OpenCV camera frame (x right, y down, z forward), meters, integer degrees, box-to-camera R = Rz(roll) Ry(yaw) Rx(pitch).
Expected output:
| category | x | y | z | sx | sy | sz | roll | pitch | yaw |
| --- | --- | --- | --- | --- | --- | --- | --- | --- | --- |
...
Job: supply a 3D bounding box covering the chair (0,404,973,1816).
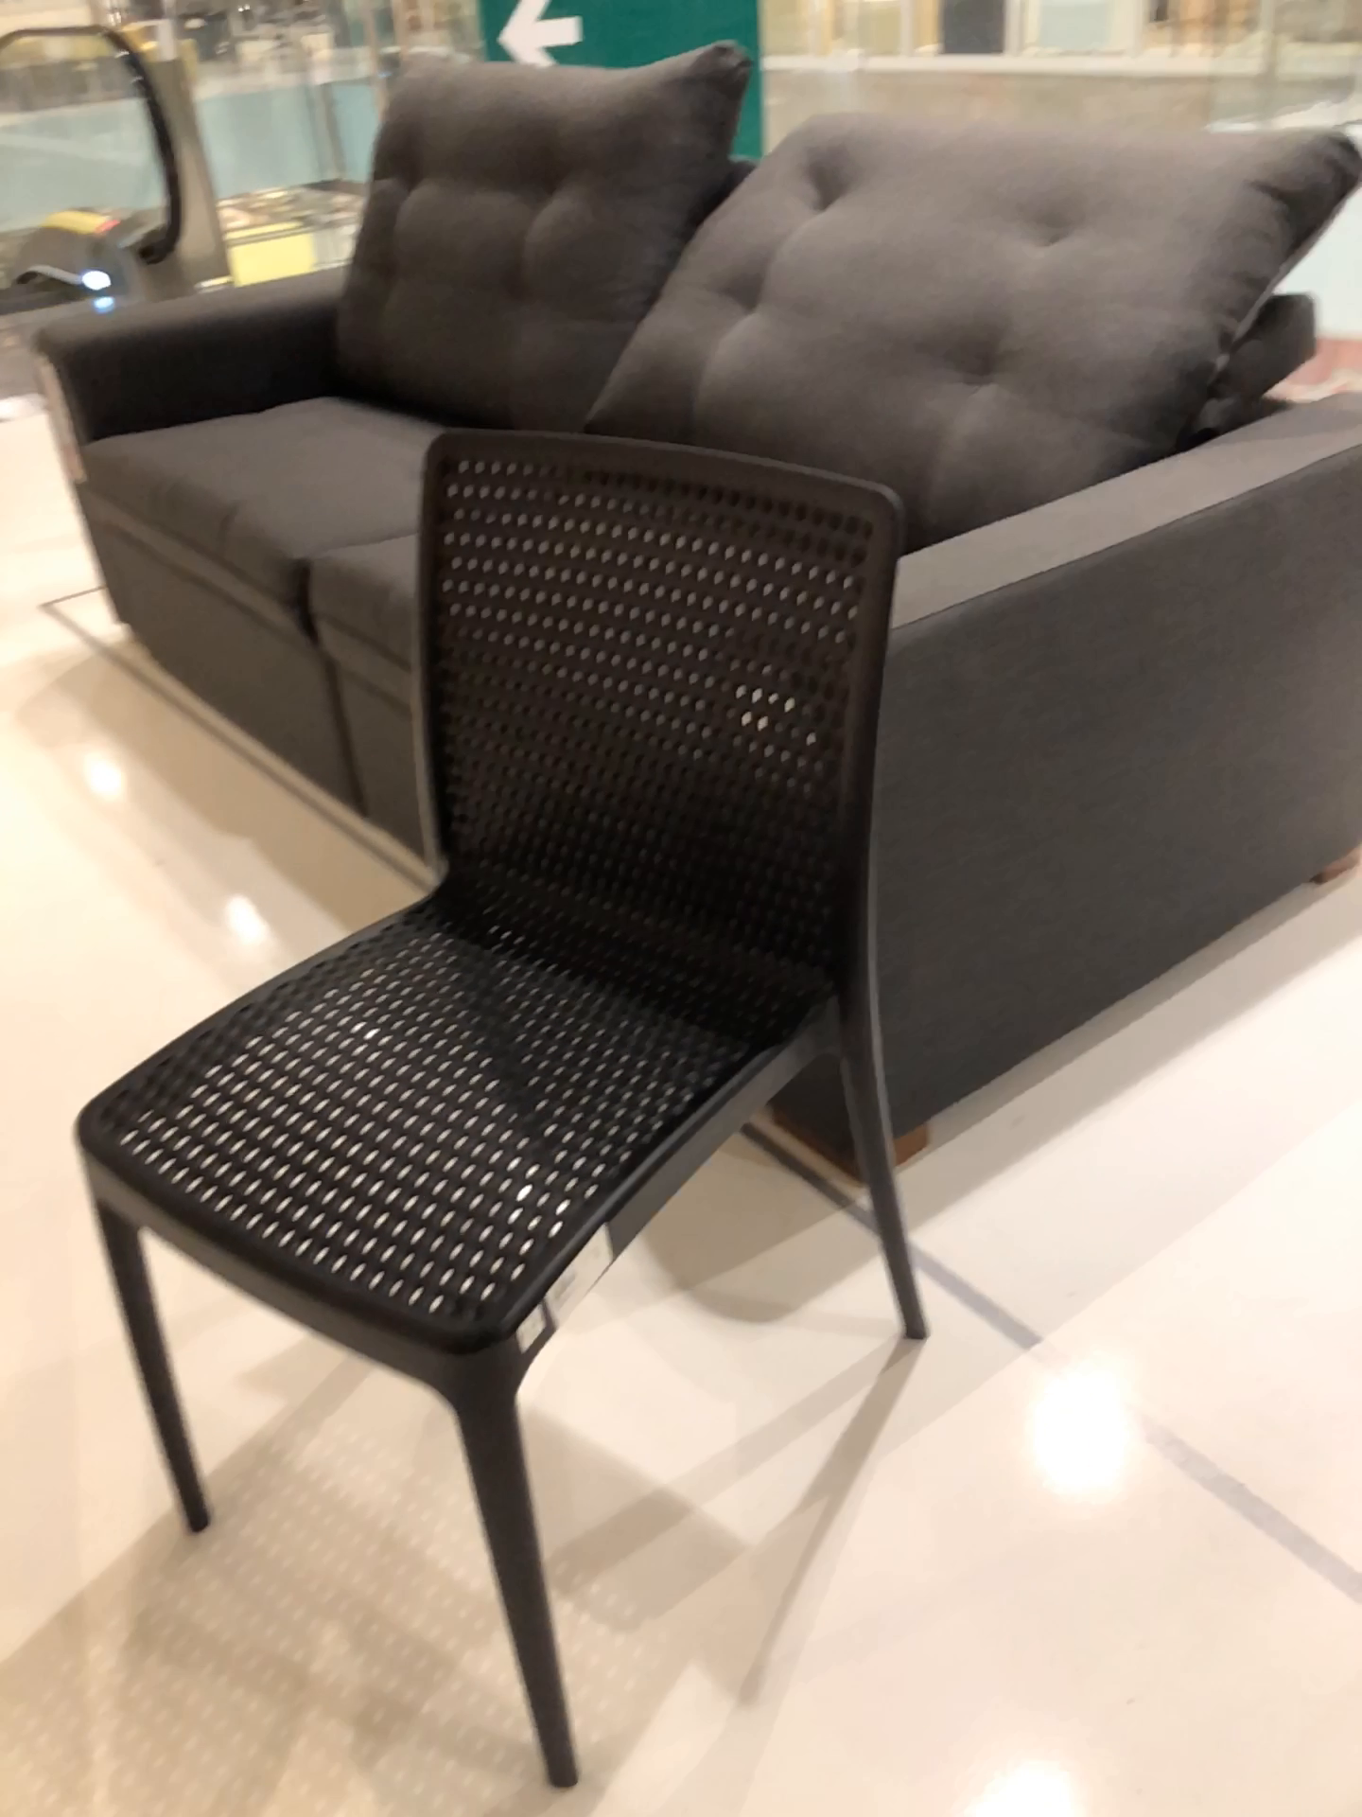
| category | x | y | z | sx | sy | sz | roll | pitch | yaw |
| --- | --- | --- | --- | --- | --- | --- | --- | --- | --- |
| chair | -0.152 | 0.110 | 1.138 | 0.531 | 0.784 | 0.563 | 17 | 38 | 31 |
